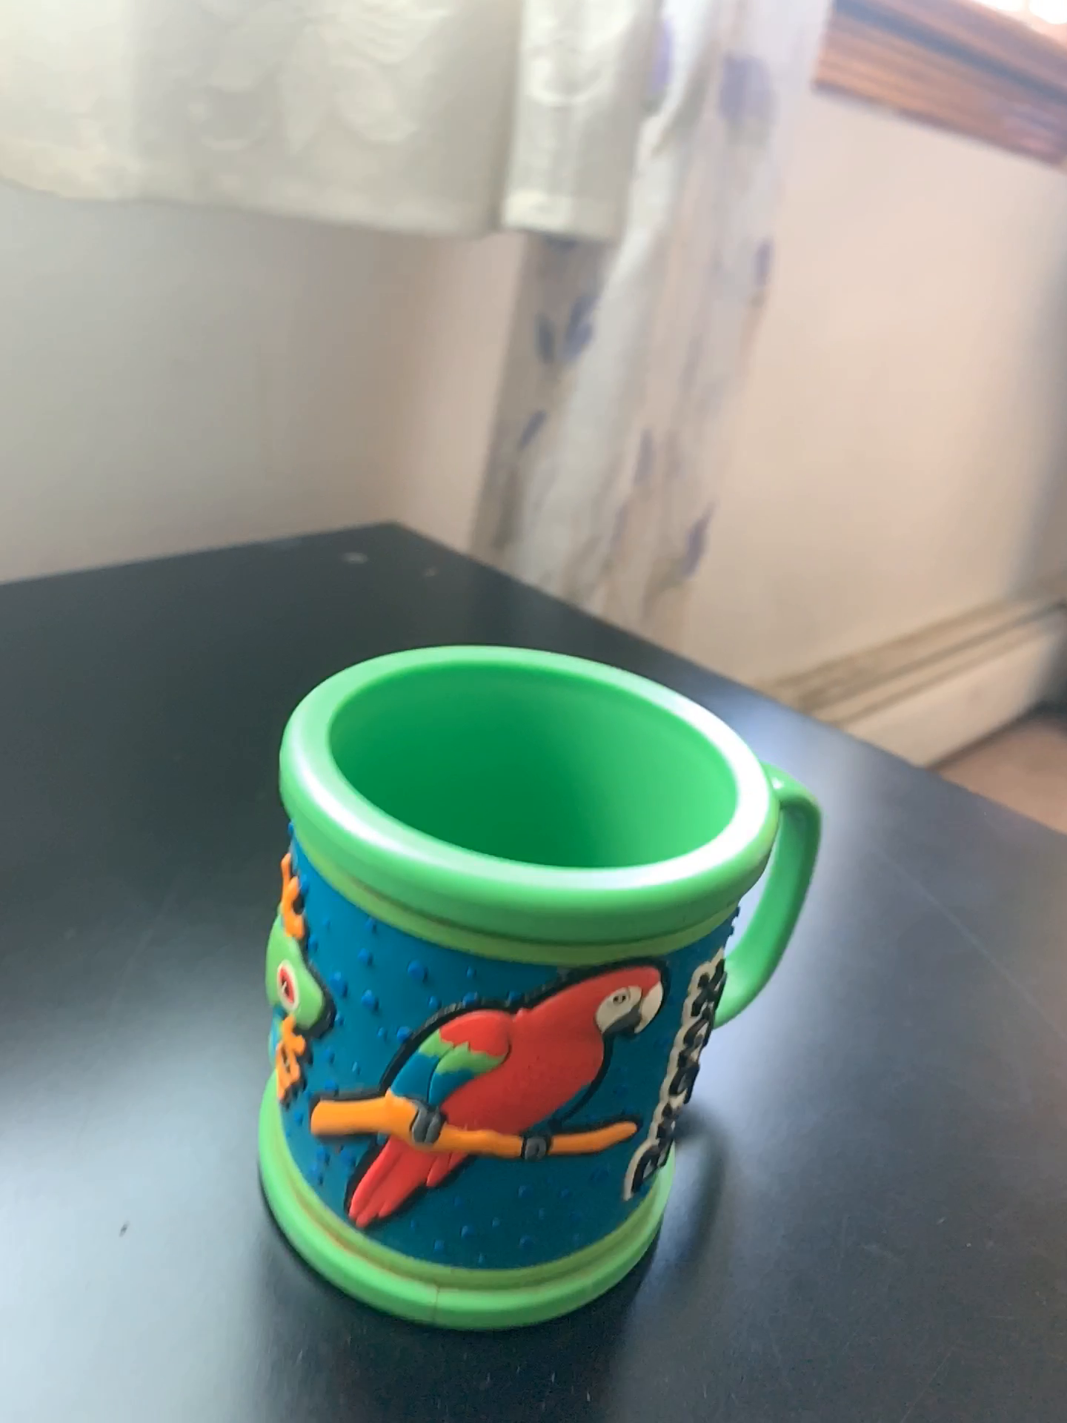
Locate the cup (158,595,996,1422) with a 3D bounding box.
[{"bbox_3d":[0.001,0.043,0.212,0.120,0.099,0.080,-7,30,-31],"label":"cup"}]
